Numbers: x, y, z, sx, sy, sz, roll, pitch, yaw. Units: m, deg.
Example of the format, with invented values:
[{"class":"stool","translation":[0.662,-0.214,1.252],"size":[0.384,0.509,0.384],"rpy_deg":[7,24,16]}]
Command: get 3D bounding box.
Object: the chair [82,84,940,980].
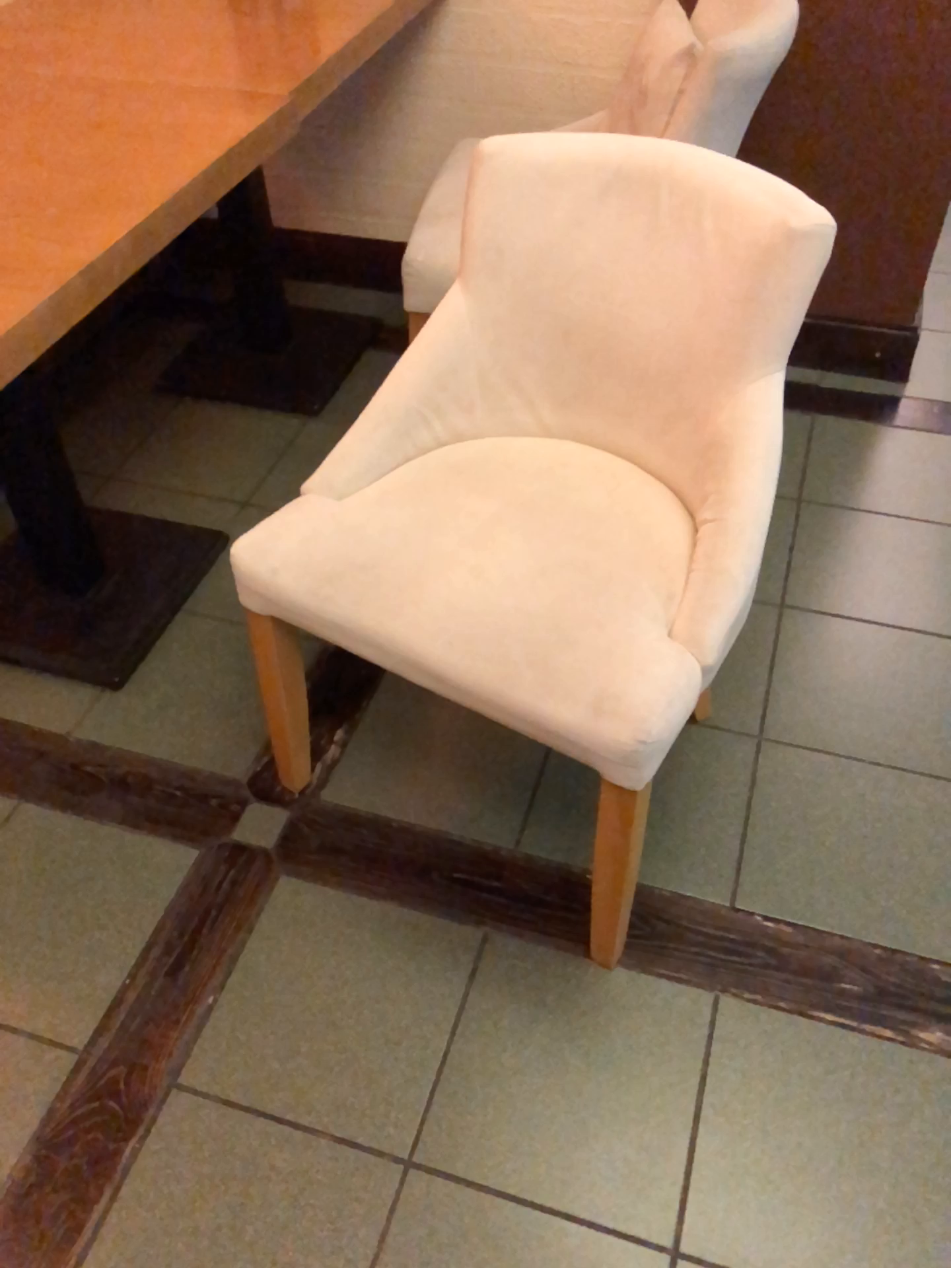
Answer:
[{"class":"chair","translation":[0.078,-0.155,1.321],"size":[0.631,0.736,0.663],"rpy_deg":[22,50,23]}]
